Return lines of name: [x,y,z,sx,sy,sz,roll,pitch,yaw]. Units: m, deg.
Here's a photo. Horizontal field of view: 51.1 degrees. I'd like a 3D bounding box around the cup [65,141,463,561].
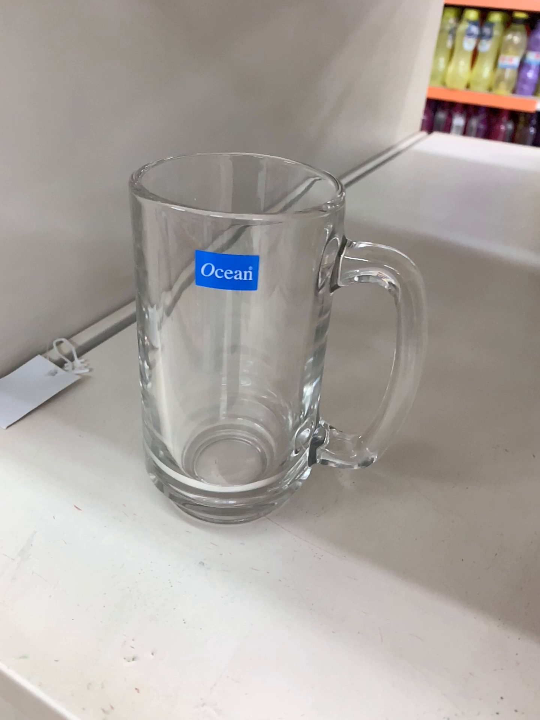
cup: [0.000,-0.005,0.220,0.111,0.127,0.076,9,33,9]
